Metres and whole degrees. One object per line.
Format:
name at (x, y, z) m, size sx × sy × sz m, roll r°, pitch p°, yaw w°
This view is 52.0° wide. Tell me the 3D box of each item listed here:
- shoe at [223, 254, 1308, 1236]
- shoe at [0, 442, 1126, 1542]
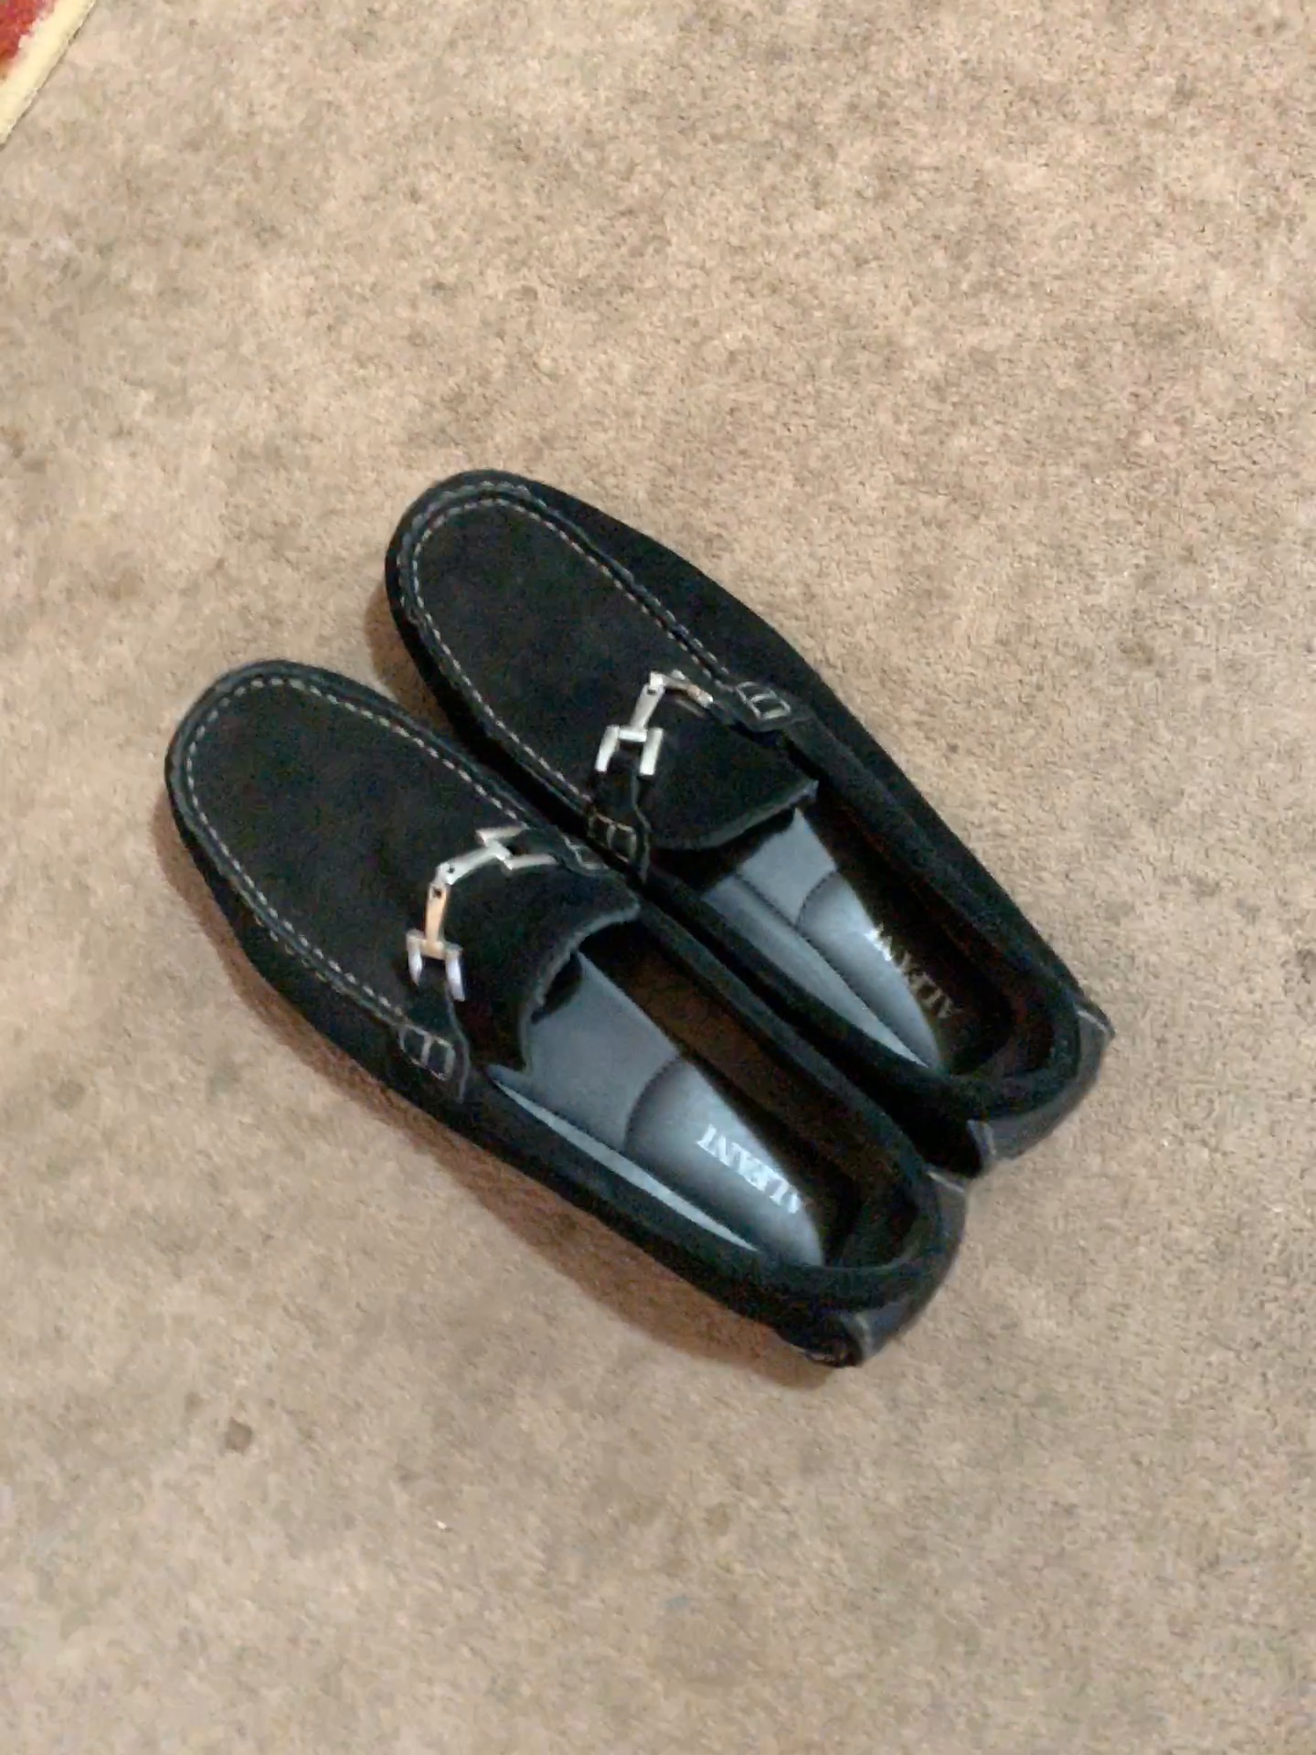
shoe at (0.024, -0.034, 0.419) m, size 0.310 × 0.100 × 0.100 m, roll 41°, pitch 76°, yaw 5°
shoe at (-0.035, 0.030, 0.392) m, size 0.310 × 0.100 × 0.100 m, roll 41°, pitch 76°, yaw 5°
